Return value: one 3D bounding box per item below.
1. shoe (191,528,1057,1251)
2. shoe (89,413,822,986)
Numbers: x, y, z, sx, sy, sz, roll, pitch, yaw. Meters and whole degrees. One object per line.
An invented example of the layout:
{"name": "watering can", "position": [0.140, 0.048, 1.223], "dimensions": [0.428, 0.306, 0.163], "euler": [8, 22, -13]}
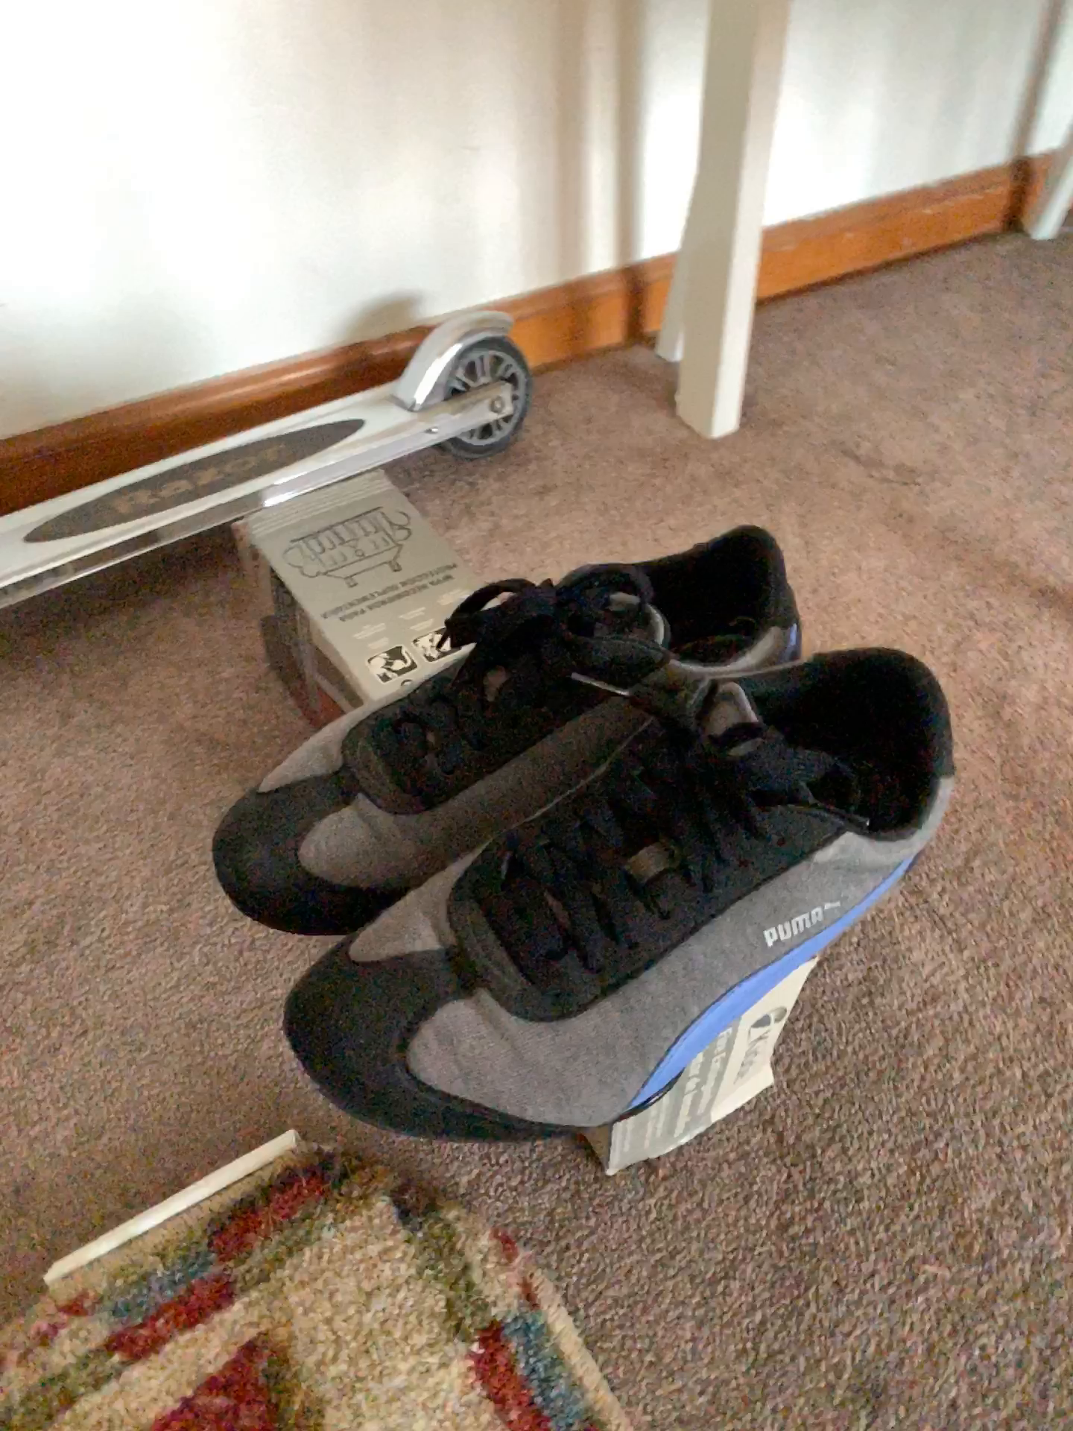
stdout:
{"name": "shoe", "position": [0.032, 0.044, 0.360], "dimensions": [0.241, 0.099, 0.101], "euler": [-25, 50, -21]}
{"name": "shoe", "position": [-0.023, -0.016, 0.408], "dimensions": [0.231, 0.089, 0.101], "euler": [-25, 50, -21]}
